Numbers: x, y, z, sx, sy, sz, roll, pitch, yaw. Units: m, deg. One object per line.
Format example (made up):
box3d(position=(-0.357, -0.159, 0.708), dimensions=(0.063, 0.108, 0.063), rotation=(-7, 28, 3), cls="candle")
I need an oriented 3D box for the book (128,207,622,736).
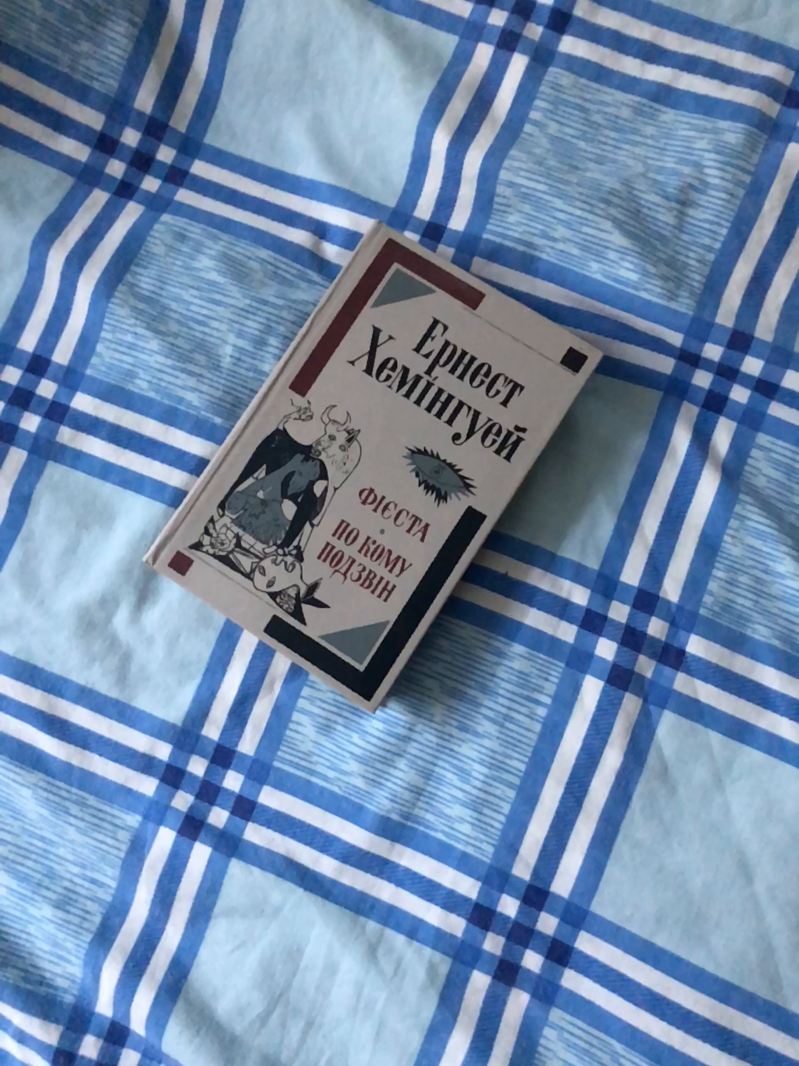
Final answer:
box3d(position=(-0.011, -0.033, 0.446), dimensions=(0.142, 0.040, 0.220), rotation=(33, 85, 8), cls="book")
